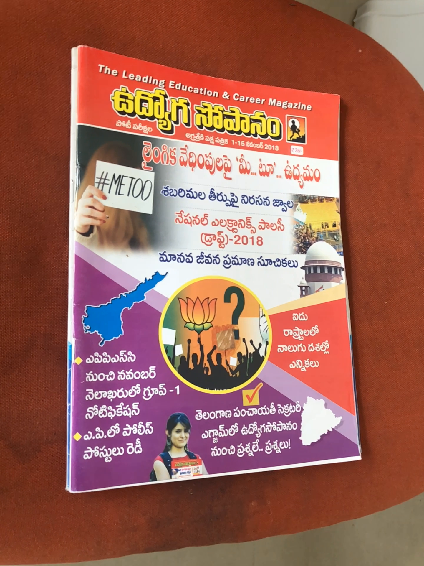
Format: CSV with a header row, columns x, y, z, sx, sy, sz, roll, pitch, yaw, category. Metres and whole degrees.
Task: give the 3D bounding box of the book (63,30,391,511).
x,y,z,sx,sy,sz,roll,pitch,yaw,category
0.013,-0.012,0.334,0.217,0.040,0.294,2,81,-17,book
